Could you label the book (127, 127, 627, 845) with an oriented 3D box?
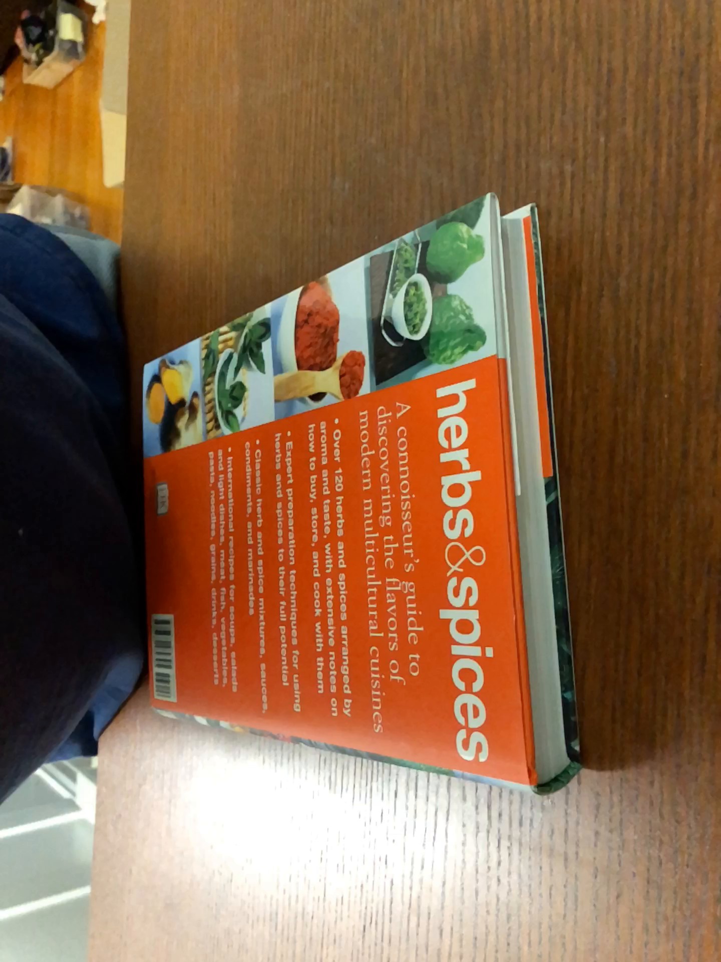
[{"bbox_3d":[-0.024,0.011,0.348,0.271,0.040,0.210,-9,81,49],"label":"book"}]
